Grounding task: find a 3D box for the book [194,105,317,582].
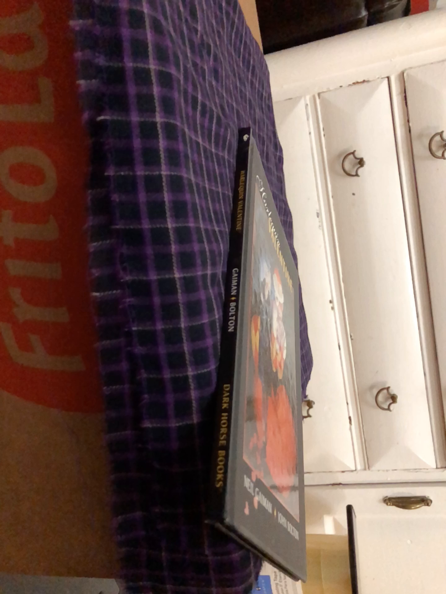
[{"bbox_3d":[0.034,0.028,0.346,0.180,0.020,0.281,61,27,-50],"label":"book"}]
